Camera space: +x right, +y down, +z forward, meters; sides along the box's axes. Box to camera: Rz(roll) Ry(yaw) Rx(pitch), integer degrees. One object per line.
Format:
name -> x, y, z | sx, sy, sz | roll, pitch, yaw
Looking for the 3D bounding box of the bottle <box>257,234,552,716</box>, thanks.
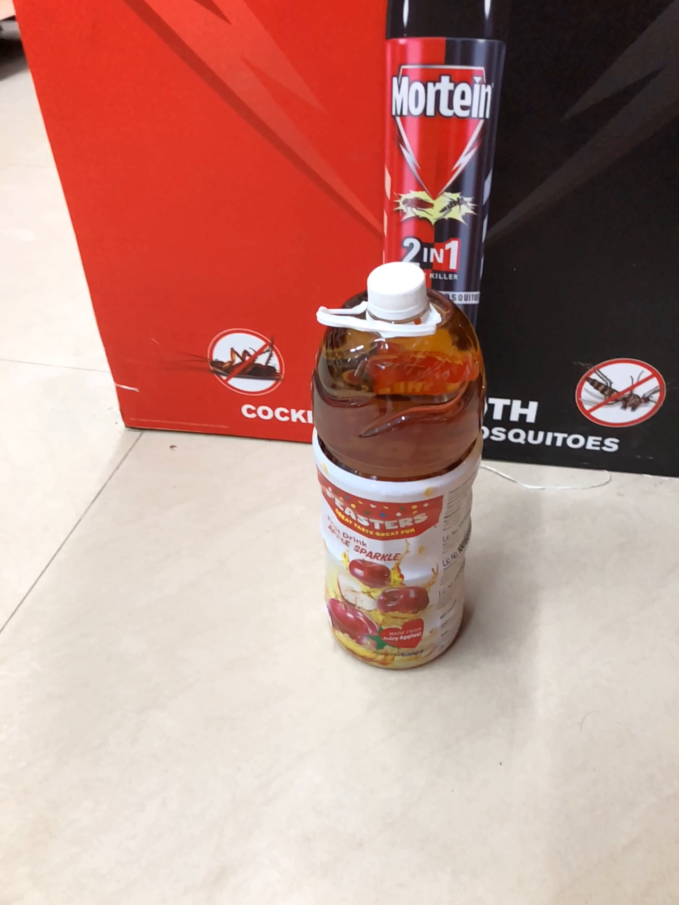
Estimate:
bottle -> 0.042, 0.025, 0.468 | 0.120, 0.278, 0.101 | 16, 43, 22
